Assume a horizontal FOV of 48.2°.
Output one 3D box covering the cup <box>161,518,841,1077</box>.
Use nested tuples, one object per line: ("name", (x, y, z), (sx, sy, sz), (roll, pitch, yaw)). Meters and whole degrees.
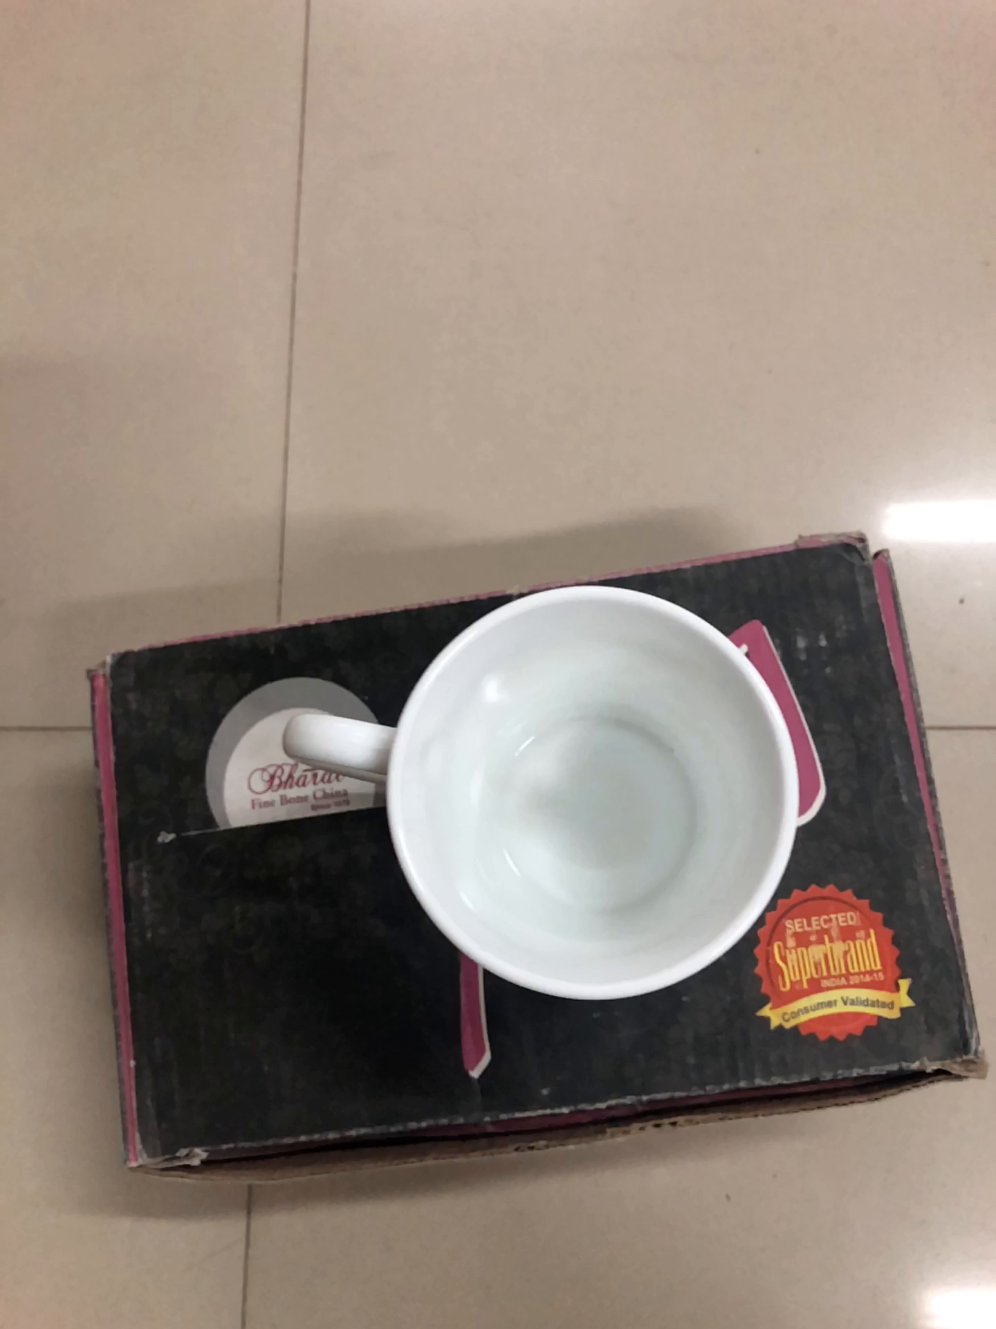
("cup", (0.004, 0.029, 0.248), (0.110, 0.090, 0.080), (12, 81, 7))
